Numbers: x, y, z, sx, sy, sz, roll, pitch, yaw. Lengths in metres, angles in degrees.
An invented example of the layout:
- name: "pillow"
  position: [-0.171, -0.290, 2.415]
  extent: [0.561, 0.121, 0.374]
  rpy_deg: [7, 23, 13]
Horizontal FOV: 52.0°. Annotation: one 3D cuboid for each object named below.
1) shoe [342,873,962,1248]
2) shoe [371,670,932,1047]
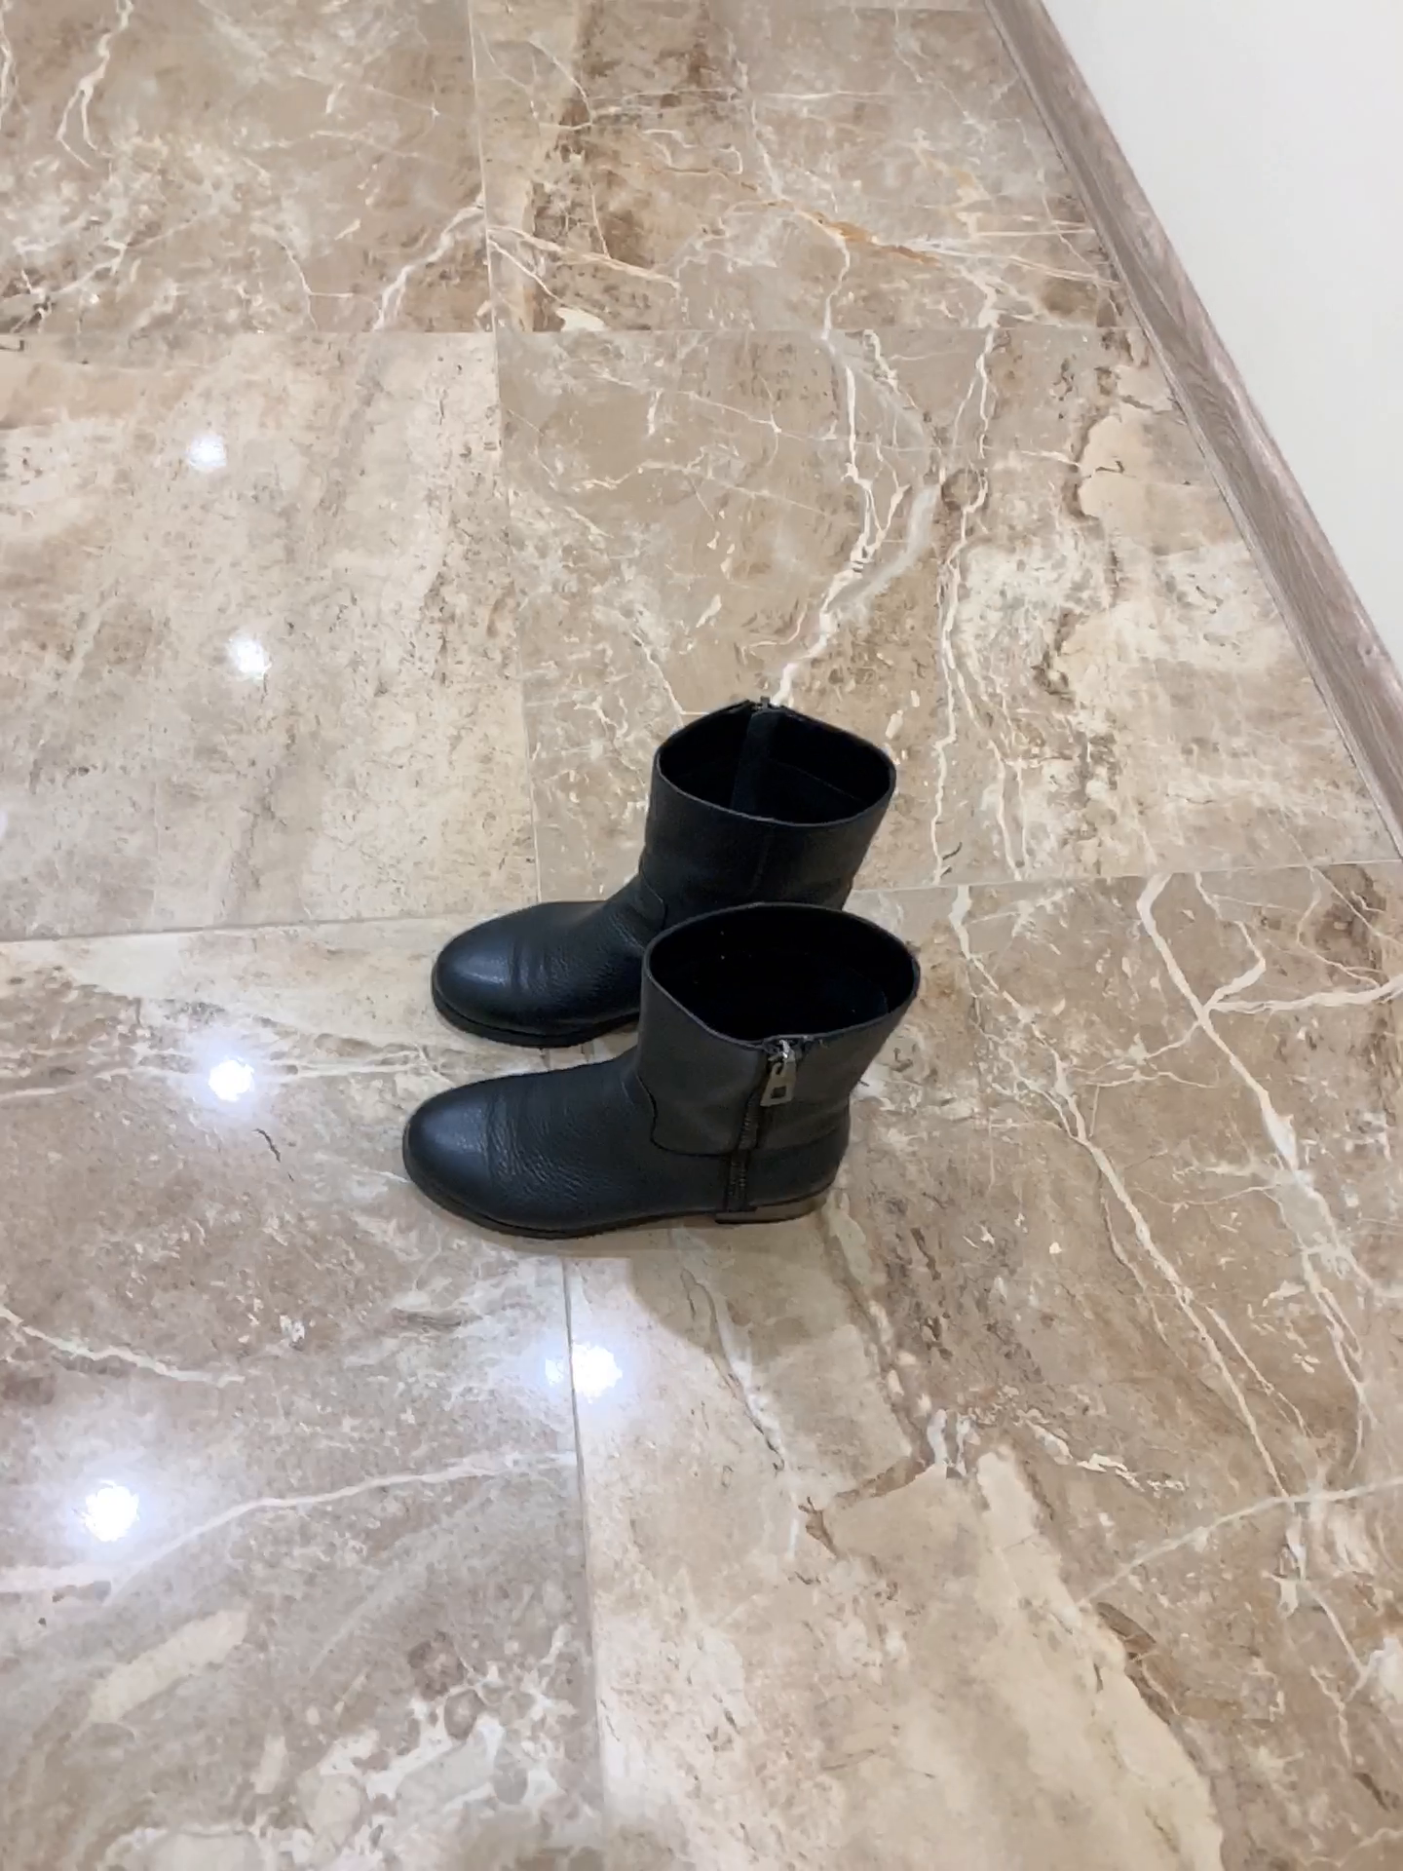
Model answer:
- name: "shoe"
  position: [-0.027, 0.071, 0.714]
  extent: [0.260, 0.209, 0.090]
  rpy_deg: [2, 56, -4]
- name: "shoe"
  position: [-0.030, -0.032, 0.778]
  extent: [0.260, 0.209, 0.090]
  rpy_deg: [1, 56, -4]
